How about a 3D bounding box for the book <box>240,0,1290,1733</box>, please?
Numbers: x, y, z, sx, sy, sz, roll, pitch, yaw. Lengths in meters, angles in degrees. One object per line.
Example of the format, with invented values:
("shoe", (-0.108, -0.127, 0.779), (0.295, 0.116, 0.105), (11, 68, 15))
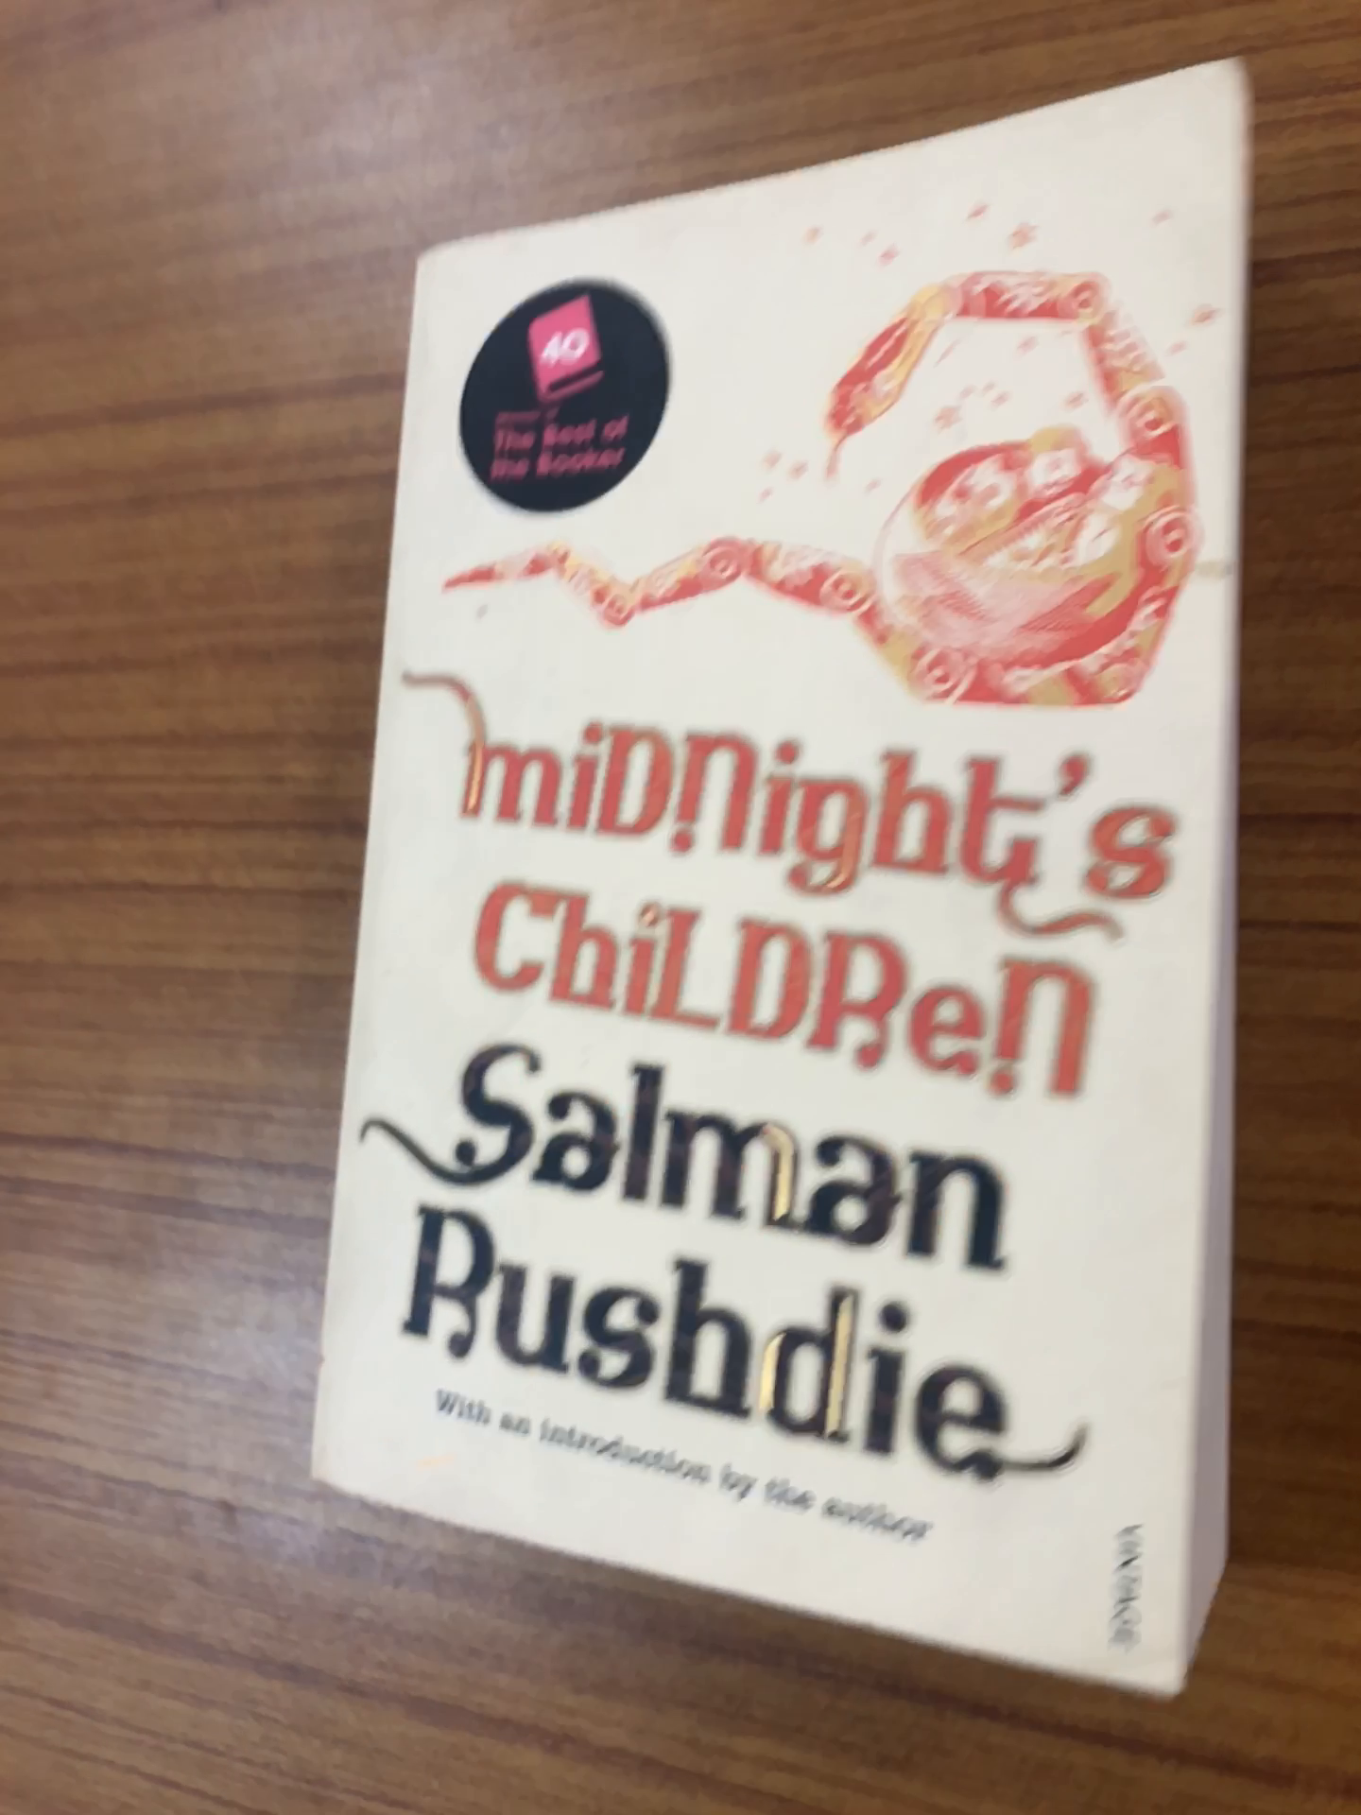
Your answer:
("book", (0.010, -0.008, 0.226), (0.141, 0.040, 0.200), (0, 84, 28))
